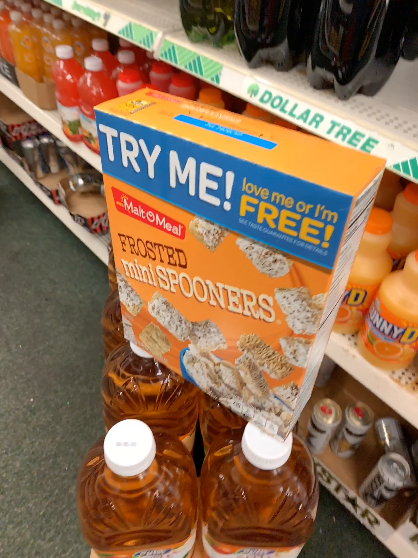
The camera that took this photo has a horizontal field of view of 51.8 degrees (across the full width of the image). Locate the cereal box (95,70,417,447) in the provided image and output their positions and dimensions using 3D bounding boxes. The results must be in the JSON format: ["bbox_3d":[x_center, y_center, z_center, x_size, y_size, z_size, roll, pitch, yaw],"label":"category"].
[{"bbox_3d":[0.012,-0.006,0.308,0.170,0.219,0.060,27,45,22],"label":"cereal box"}]
